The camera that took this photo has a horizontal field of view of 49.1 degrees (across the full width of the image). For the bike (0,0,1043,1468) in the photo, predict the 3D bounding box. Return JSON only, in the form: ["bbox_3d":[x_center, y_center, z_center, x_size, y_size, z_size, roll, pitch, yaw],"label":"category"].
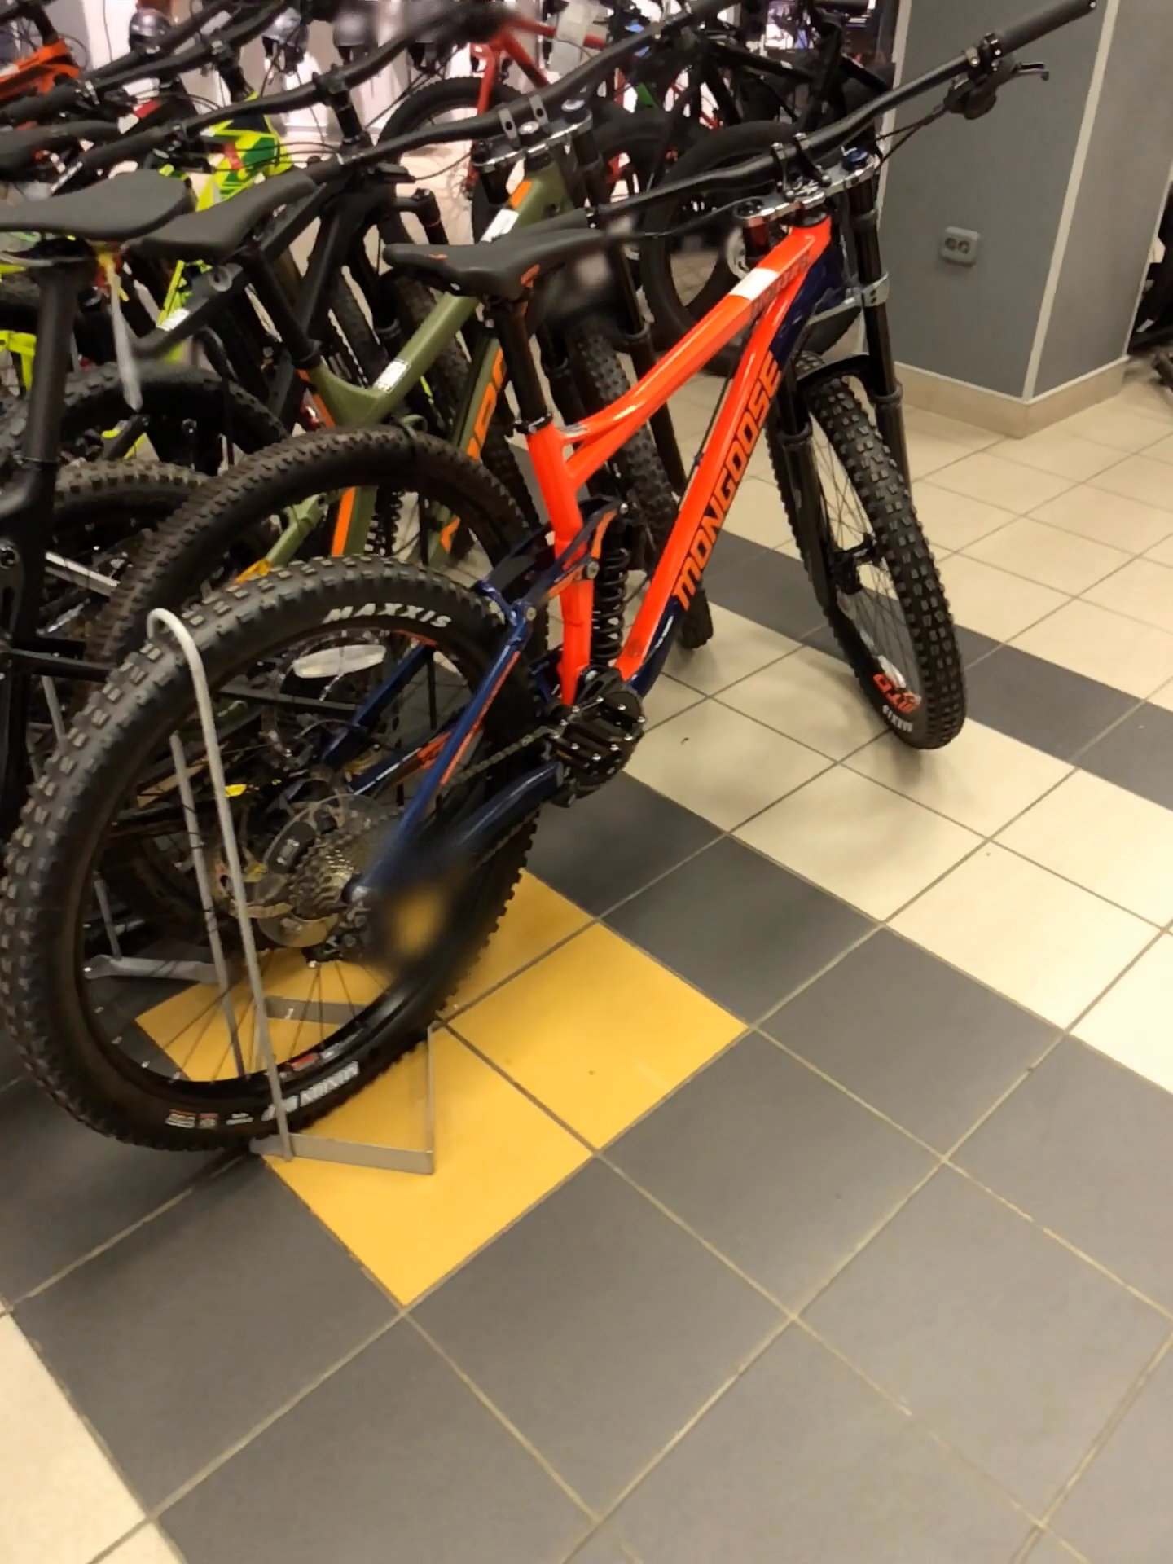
[{"bbox_3d":[-0.123,-0.425,1.705,0.802,1.108,1.706,21,41,26],"label":"bike"}]
